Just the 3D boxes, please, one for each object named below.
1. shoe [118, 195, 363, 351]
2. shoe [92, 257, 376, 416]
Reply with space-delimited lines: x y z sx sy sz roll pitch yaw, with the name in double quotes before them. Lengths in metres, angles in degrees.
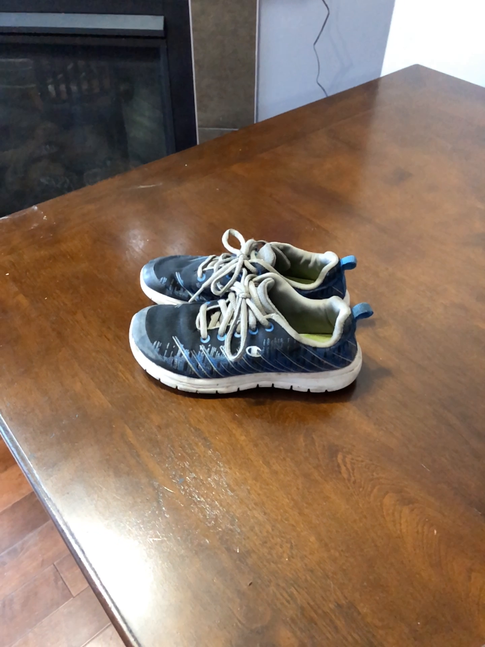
"shoe" 0.003 -0.053 0.543 0.220 0.090 0.100 7 45 7
"shoe" -0.005 0.010 0.500 0.230 0.090 0.100 3 45 3
